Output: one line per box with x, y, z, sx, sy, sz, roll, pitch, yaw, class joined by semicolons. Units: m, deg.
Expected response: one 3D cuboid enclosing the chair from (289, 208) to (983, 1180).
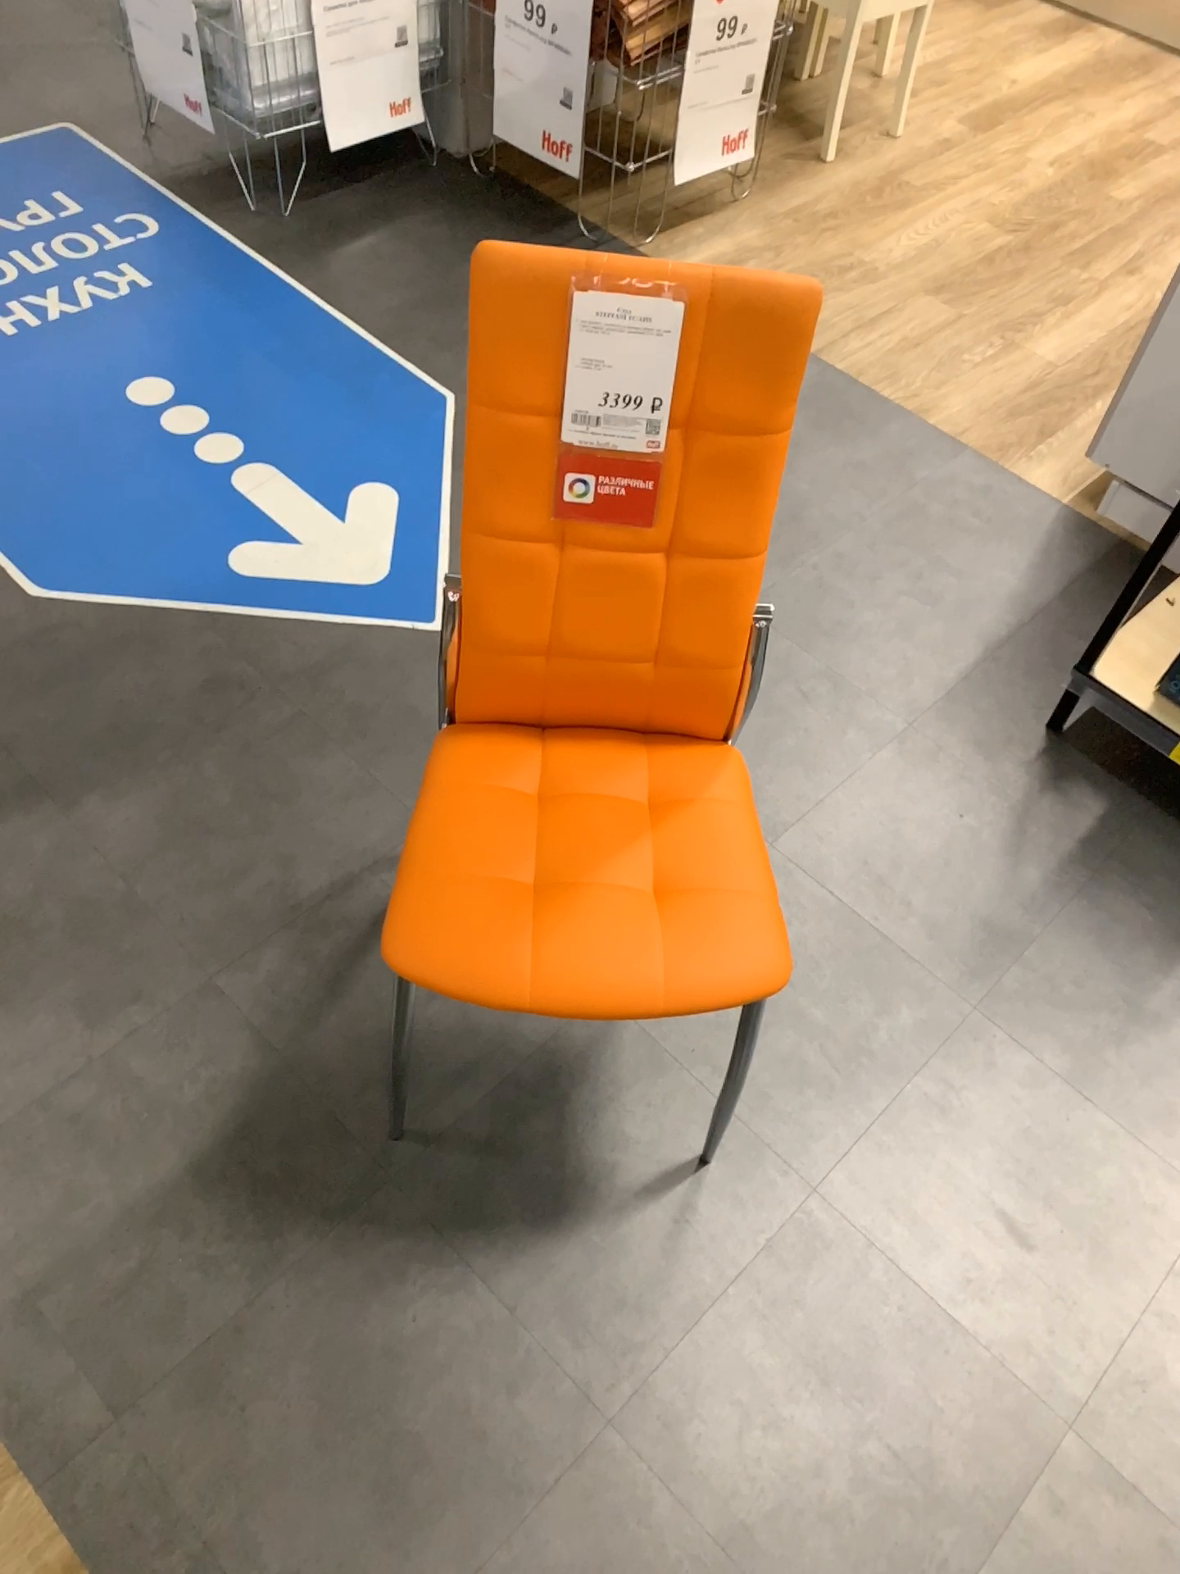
0.000;-0.014;1.410;0.490;1.015;0.542;6;51;-3;chair
